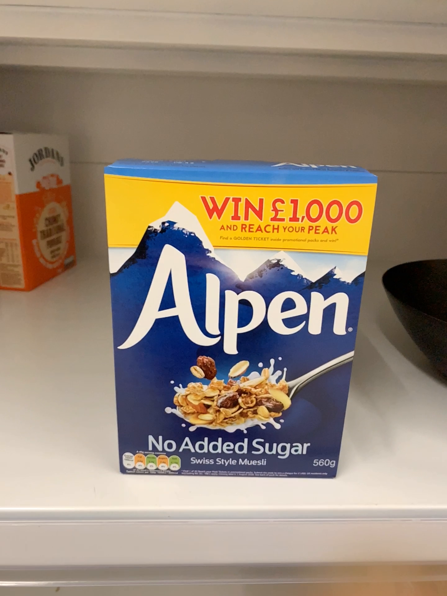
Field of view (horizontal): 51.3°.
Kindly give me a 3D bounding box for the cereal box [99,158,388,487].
[{"bbox_3d":[0.009,0.022,0.354,0.180,0.238,0.060,2,18,0],"label":"cereal box"}]
